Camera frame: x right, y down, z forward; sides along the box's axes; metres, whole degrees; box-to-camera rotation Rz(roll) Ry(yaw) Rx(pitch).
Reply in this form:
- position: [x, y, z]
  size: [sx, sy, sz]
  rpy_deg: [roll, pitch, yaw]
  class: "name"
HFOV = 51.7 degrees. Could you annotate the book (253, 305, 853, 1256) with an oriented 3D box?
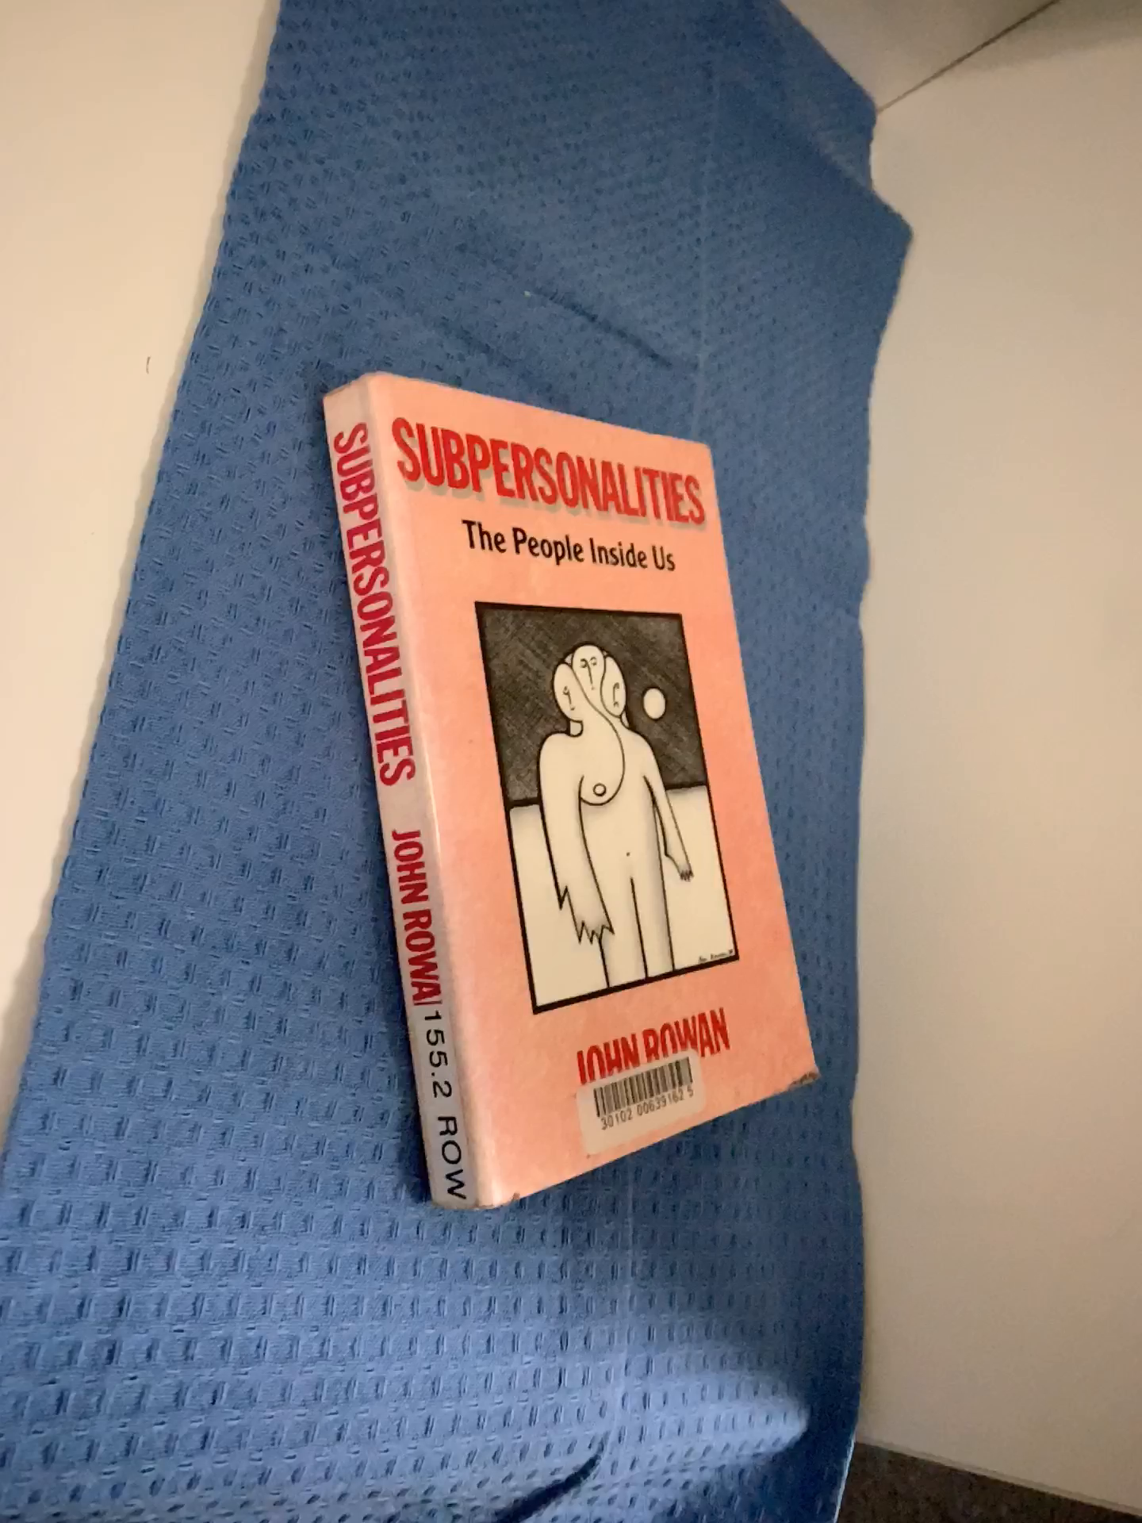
- position: [0.003, -0.001, 0.351]
  size: [0.161, 0.040, 0.230]
  rpy_deg: [-4, 83, -45]
  class: "book"
